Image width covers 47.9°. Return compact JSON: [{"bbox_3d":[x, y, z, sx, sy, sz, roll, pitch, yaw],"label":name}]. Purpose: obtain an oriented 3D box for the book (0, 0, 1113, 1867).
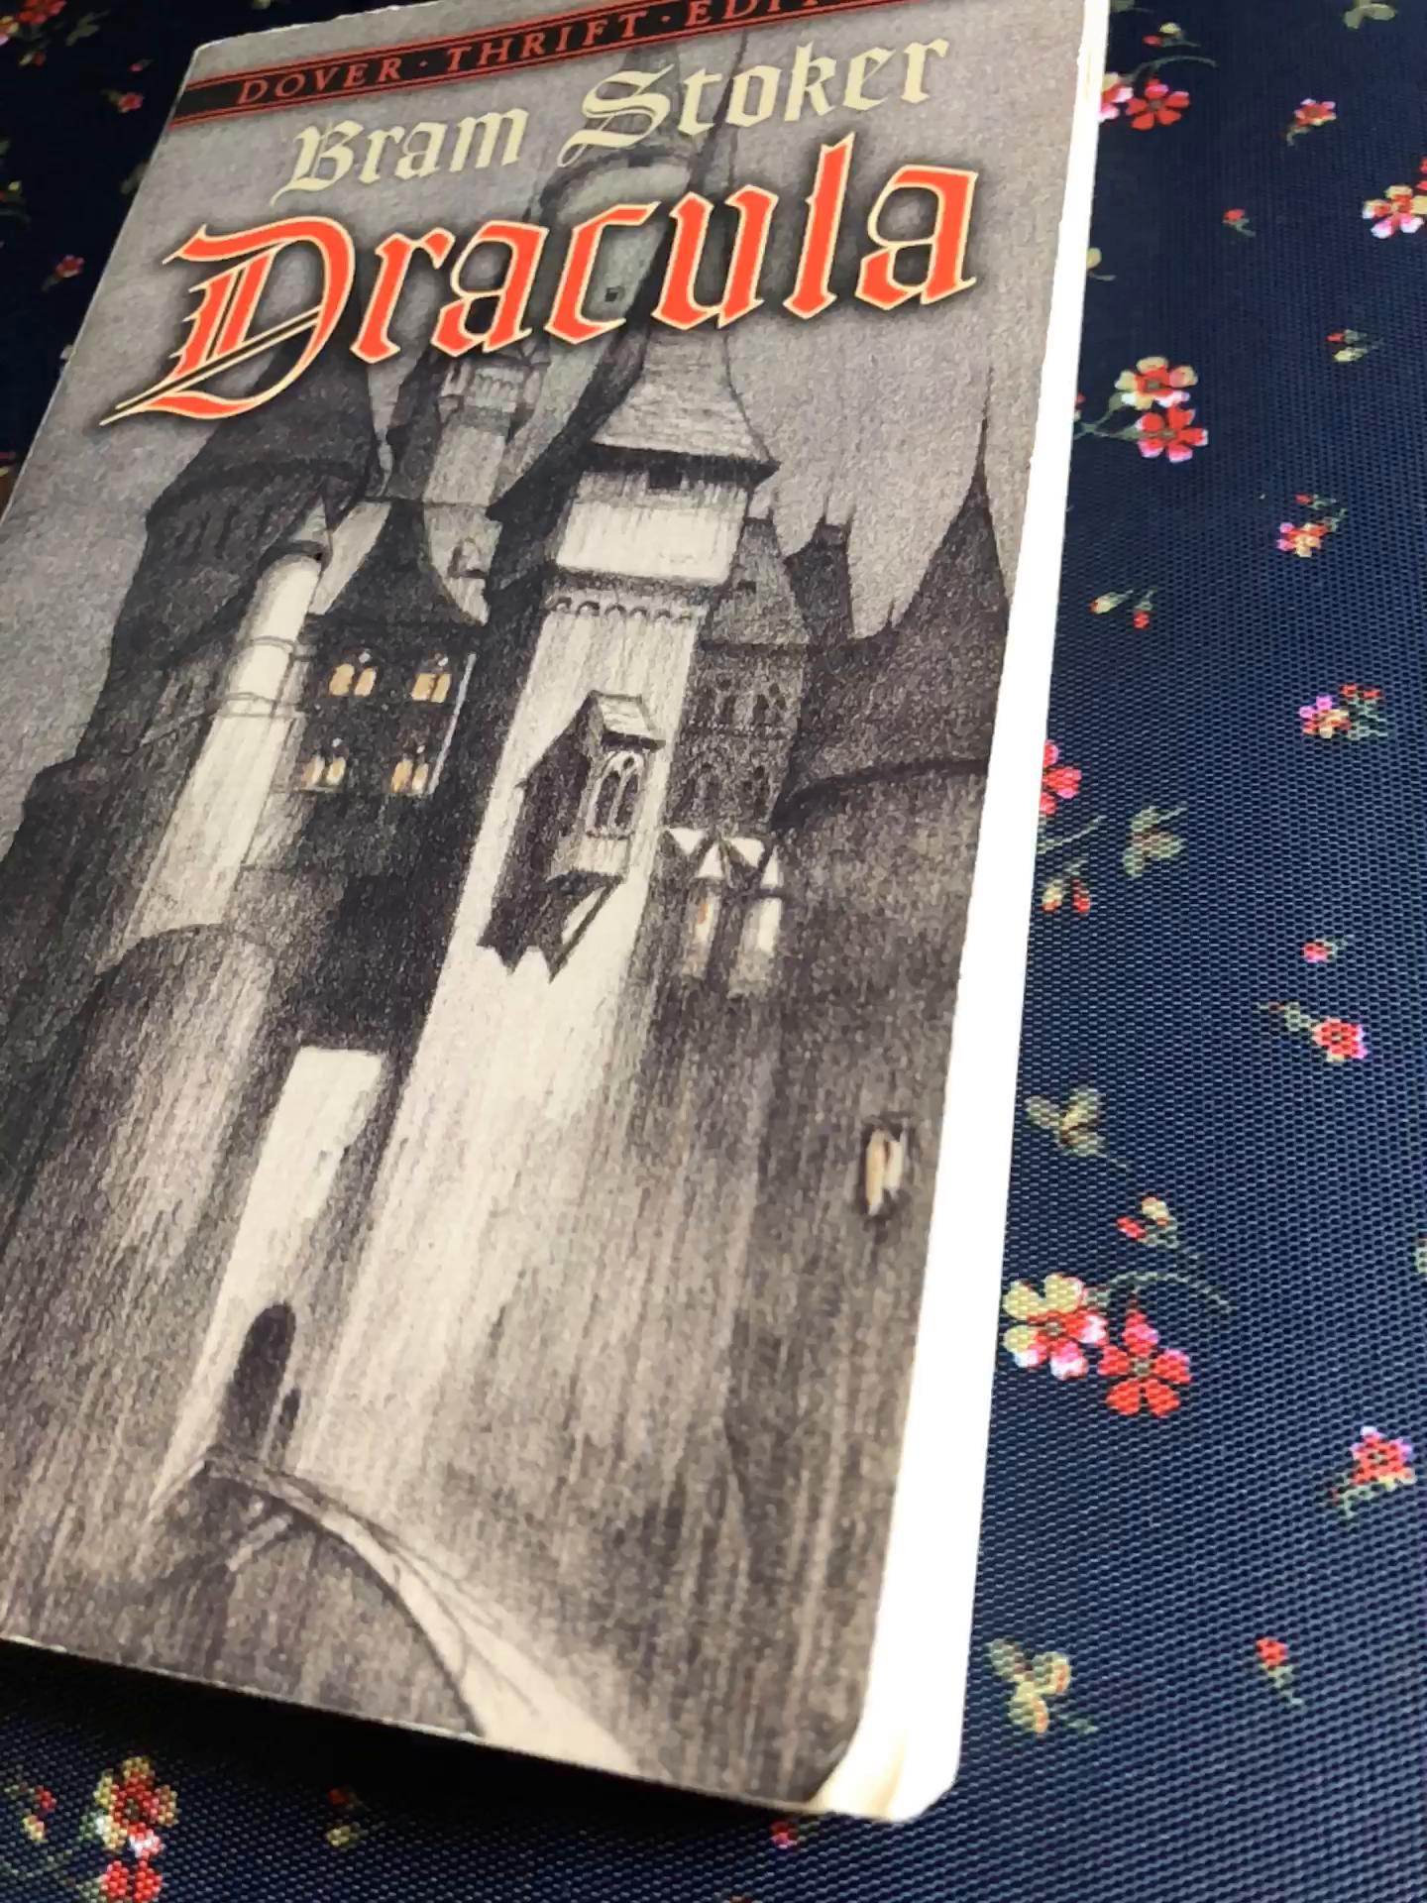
[{"bbox_3d":[-0.029,-0.027,0.180,0.130,0.033,0.203,1,65,19],"label":"book"}]
